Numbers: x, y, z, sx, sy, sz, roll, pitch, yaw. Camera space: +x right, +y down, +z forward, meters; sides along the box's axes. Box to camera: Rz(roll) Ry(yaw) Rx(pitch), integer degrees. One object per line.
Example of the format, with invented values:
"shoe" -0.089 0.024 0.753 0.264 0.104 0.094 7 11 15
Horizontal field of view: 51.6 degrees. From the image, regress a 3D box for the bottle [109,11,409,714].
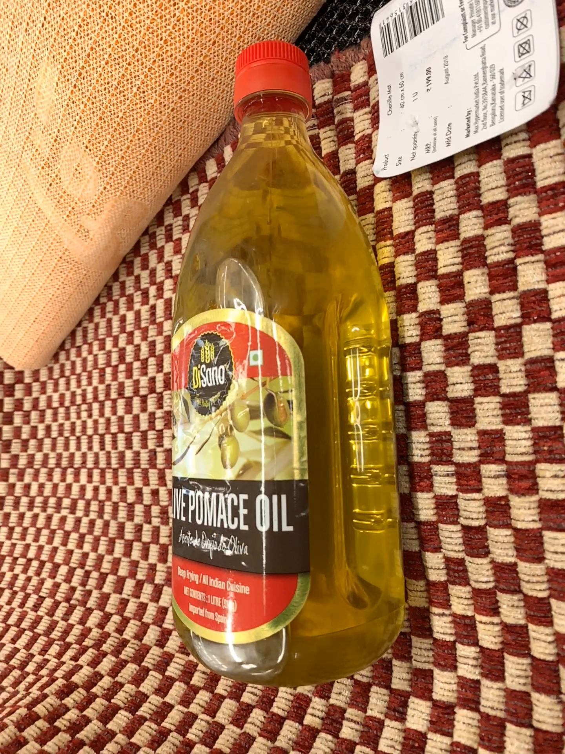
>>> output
"bottle" -0.008 -0.005 0.230 0.080 0.080 0.210 -5 83 41
